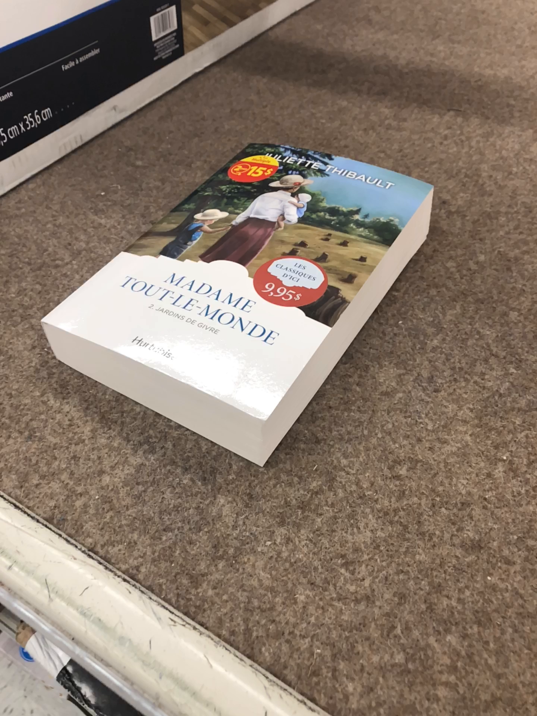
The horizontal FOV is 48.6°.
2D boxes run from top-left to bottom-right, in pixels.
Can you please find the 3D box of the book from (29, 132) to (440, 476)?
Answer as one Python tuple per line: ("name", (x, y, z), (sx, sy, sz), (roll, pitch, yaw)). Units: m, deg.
("book", (-0.010, -0.056, 0.386), (0.160, 0.050, 0.222), (22, 55, 24))
